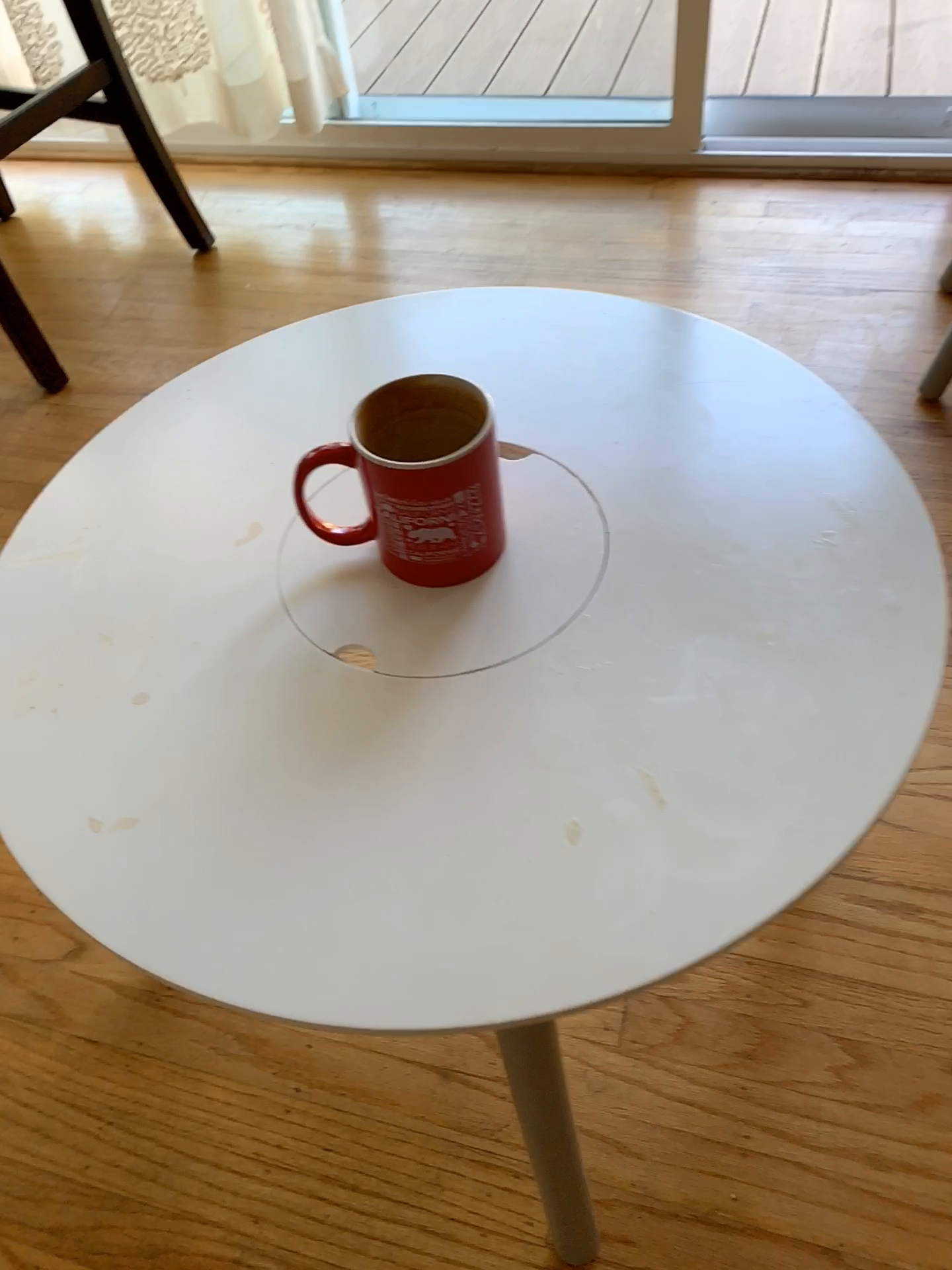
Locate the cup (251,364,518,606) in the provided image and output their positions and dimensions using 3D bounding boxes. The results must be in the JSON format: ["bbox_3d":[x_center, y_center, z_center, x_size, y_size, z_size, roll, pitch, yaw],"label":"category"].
[{"bbox_3d":[-0.045,-0.084,0.551,0.130,0.090,0.090,-3,51,5],"label":"cup"}]
